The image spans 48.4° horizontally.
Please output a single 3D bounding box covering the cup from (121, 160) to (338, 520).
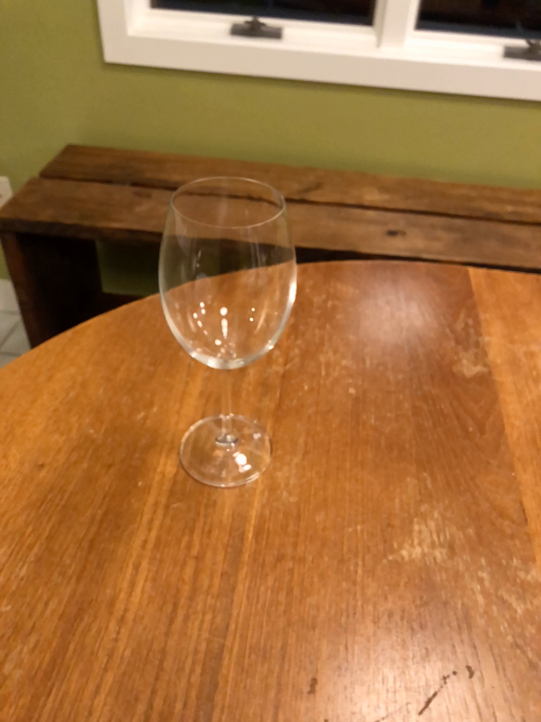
[{"bbox_3d":[-0.032,-0.009,0.463,0.098,0.240,0.100,2,40,-2],"label":"cup"}]
